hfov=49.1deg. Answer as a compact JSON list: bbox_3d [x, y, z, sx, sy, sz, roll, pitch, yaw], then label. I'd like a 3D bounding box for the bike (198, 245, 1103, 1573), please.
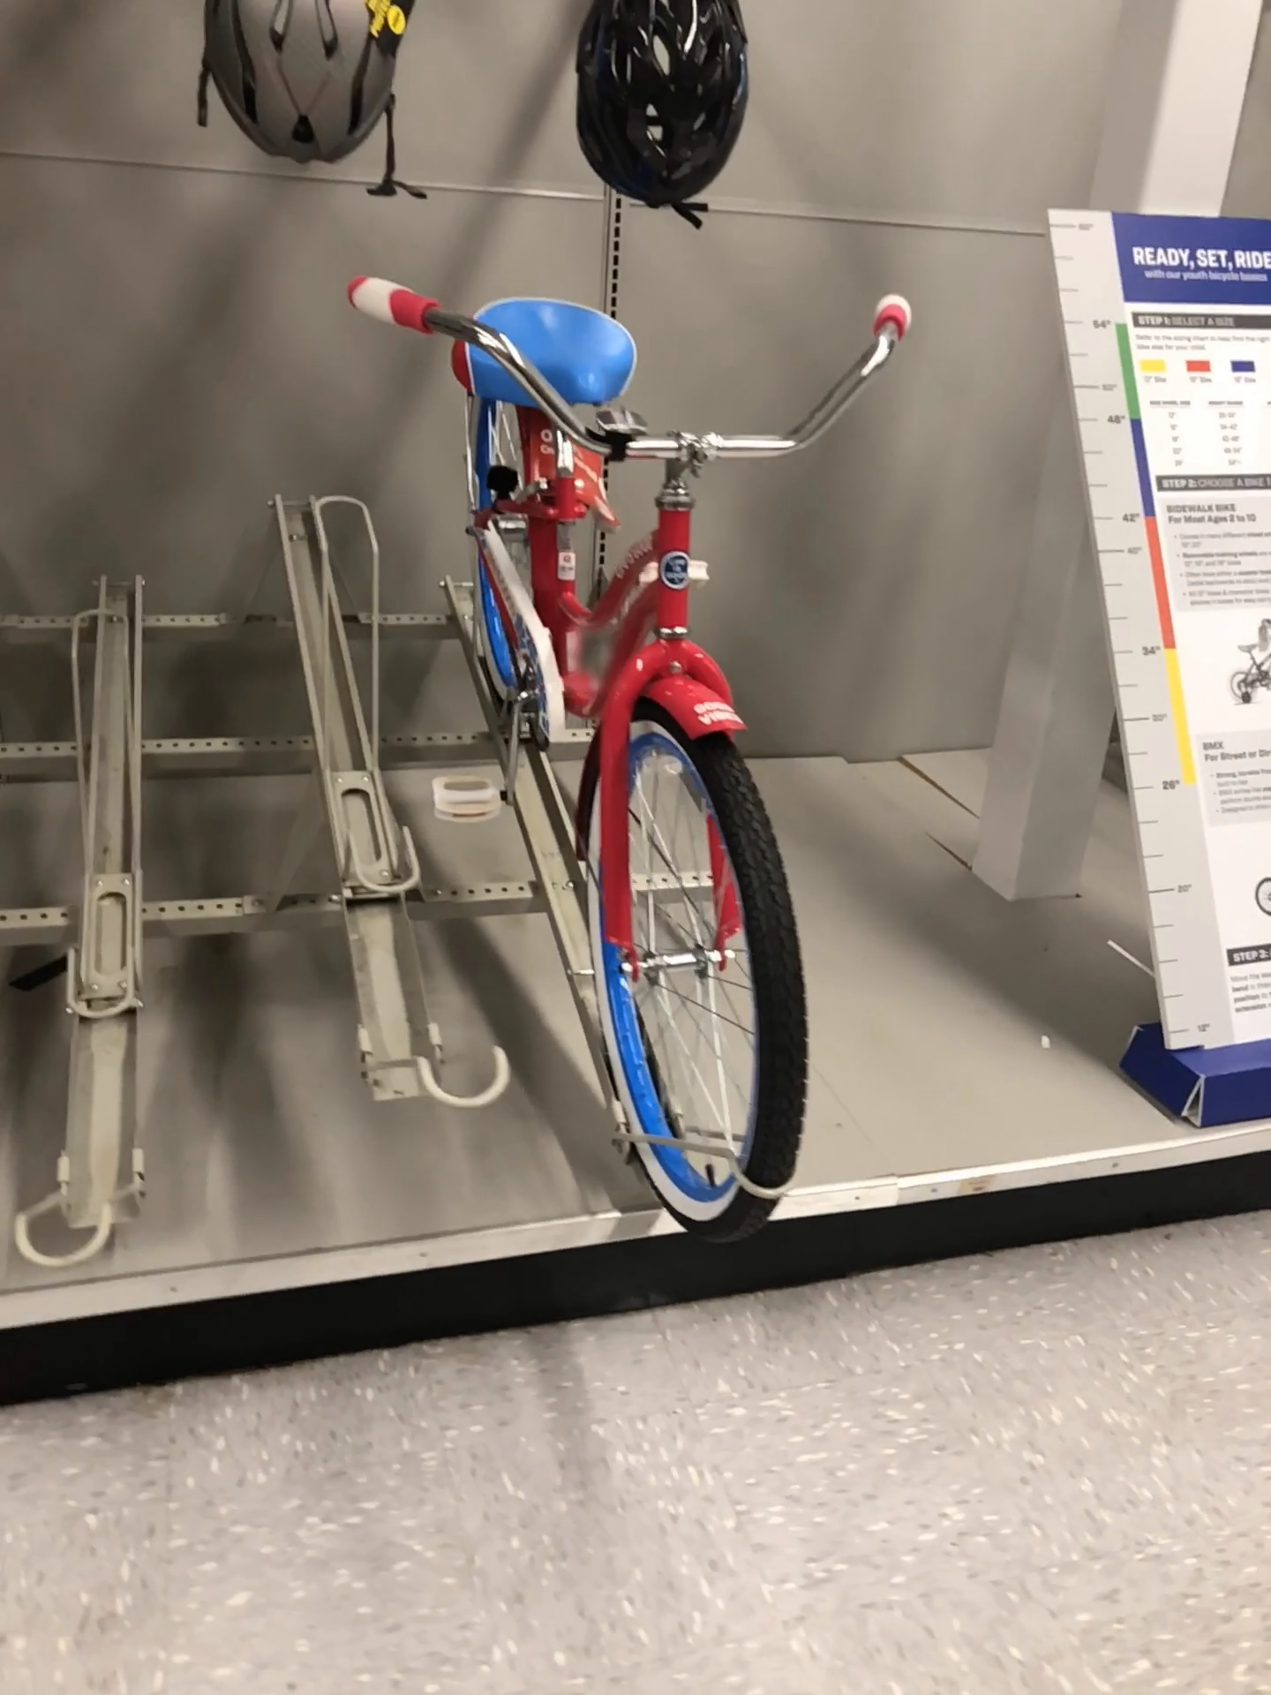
[{"bbox_3d":[-0.147,-0.156,1.962,0.810,0.676,1.614,-4,40,-17],"label":"bike"}]
